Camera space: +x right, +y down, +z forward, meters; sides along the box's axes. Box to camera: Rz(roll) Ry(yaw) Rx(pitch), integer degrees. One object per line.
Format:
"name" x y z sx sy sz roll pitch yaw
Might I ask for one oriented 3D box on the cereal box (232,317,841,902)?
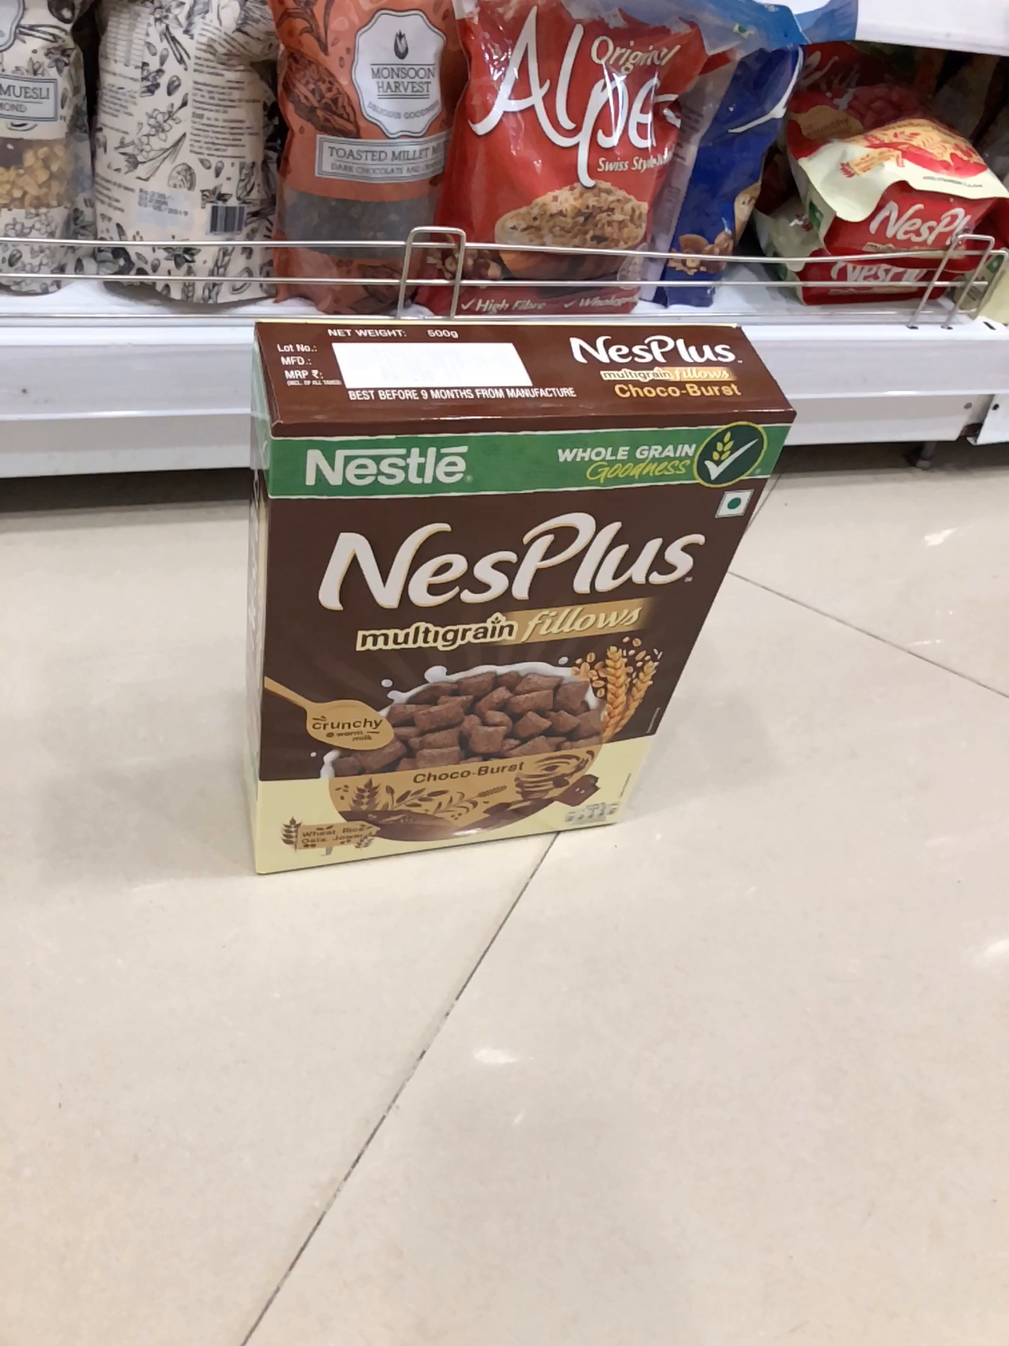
"cereal box" -0.008 -0.014 0.467 0.200 0.258 0.060 -5 48 -18
